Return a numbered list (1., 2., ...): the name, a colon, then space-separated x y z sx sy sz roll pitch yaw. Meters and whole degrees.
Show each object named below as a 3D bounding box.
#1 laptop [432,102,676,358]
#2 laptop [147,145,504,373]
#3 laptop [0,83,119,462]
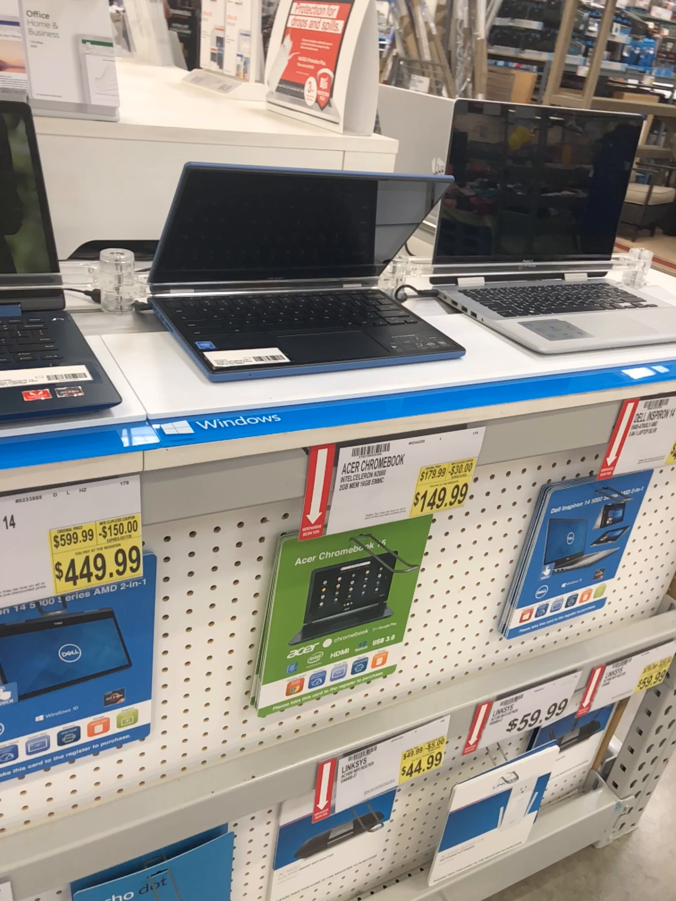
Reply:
1. laptop: 0.339 -0.297 0.948 0.341 0.218 0.256 -10 35 -26
2. laptop: -0.023 -0.204 0.769 0.293 0.159 0.195 -8 33 -28
3. laptop: -0.380 -0.175 0.607 0.305 0.169 0.369 -9 32 -28
